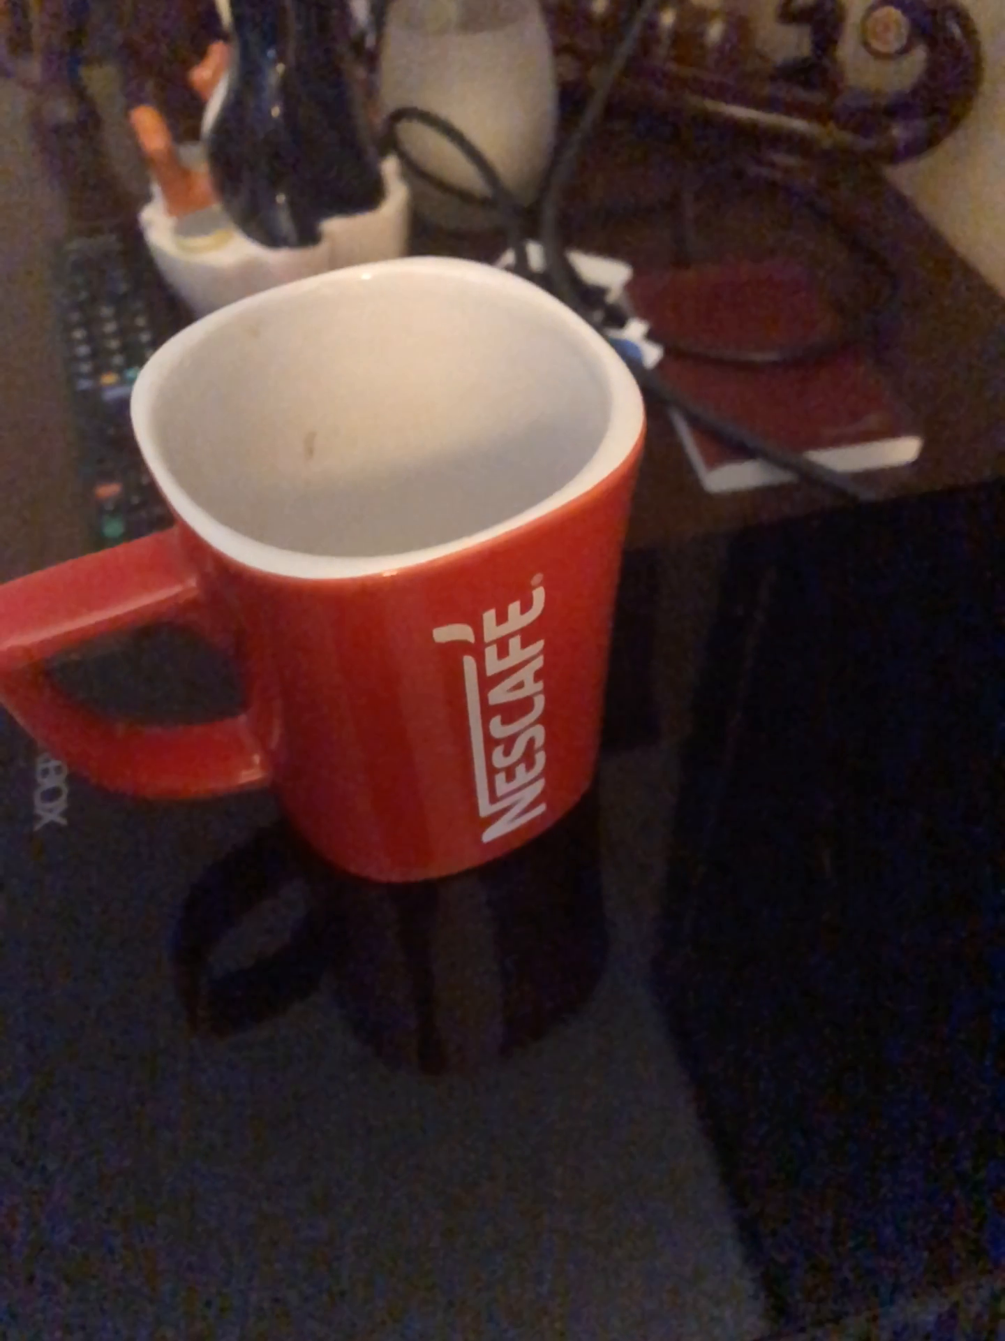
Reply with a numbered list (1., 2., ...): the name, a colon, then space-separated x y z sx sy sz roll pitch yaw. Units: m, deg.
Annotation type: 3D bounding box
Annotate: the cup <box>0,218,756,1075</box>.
1. cup: -0.030 -0.006 0.202 0.110 0.089 0.080 -23 53 -17
